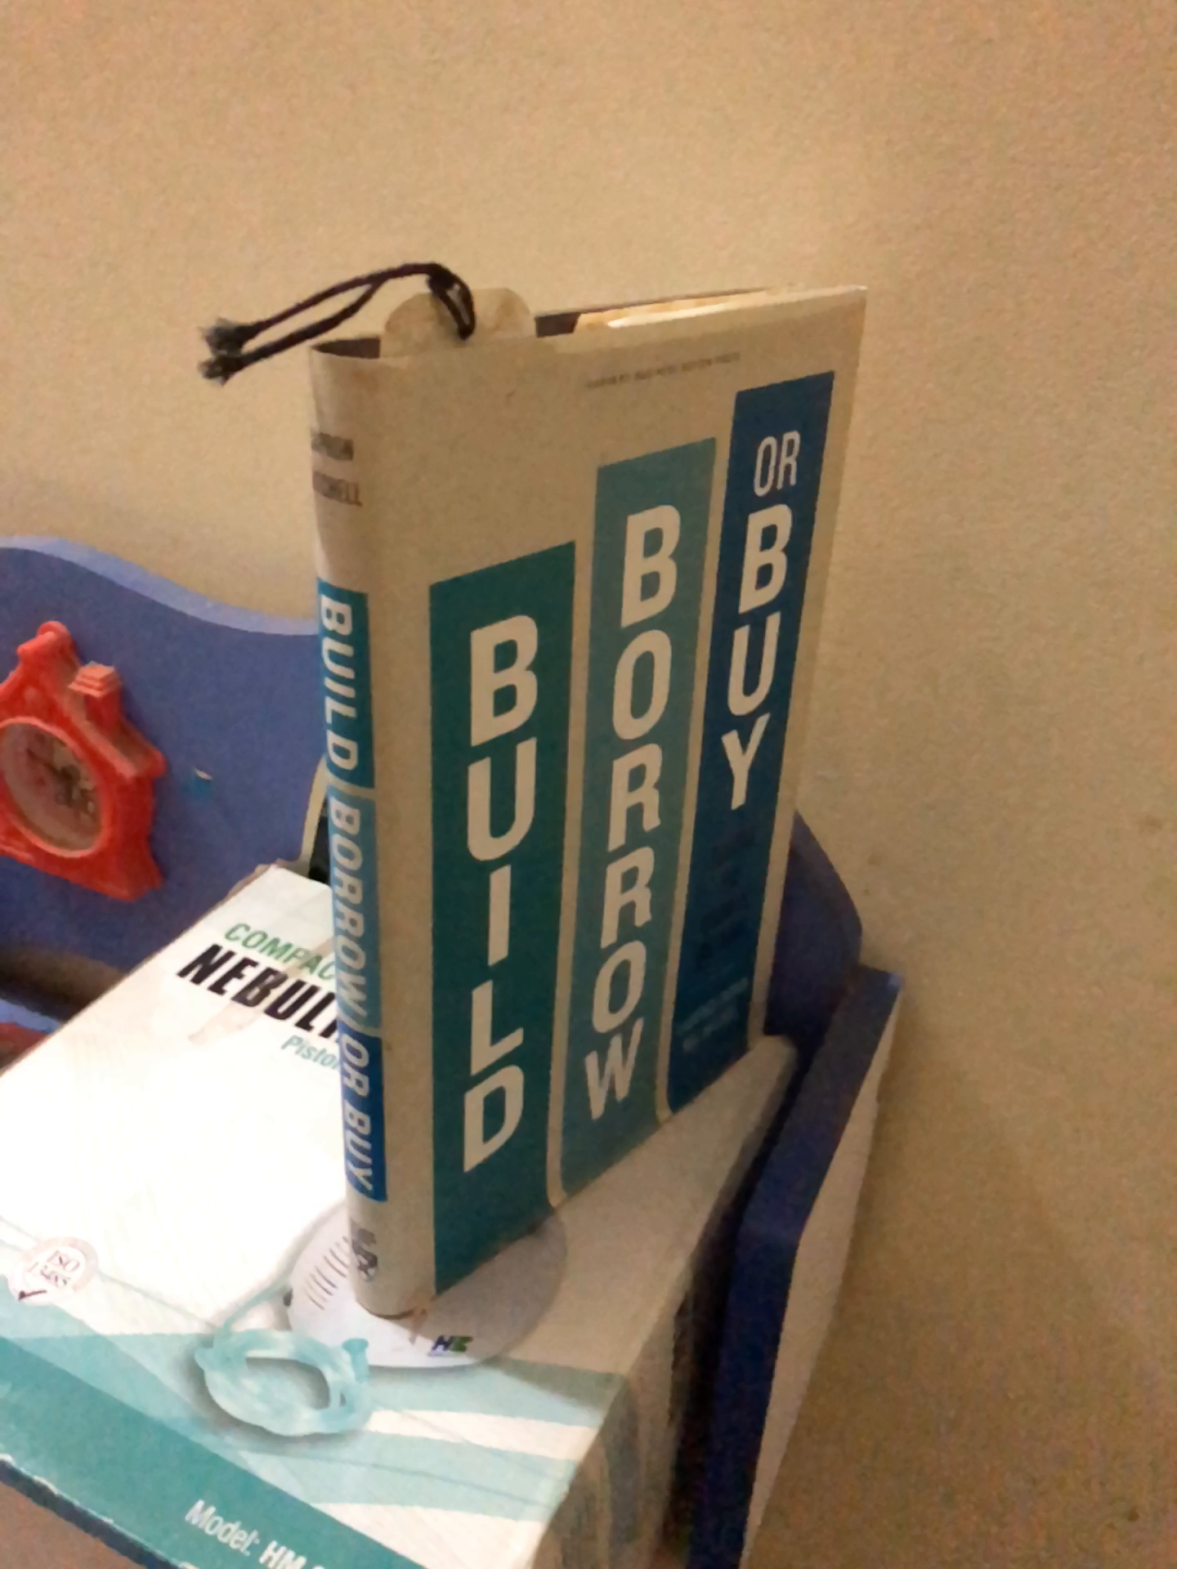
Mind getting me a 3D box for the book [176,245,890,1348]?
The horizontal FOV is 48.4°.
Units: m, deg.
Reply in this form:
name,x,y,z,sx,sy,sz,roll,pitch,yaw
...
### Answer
name,x,y,z,sx,sy,sz,roll,pitch,yaw
book,-0.001,-0.003,0.340,0.040,0.239,0.181,24,36,36
